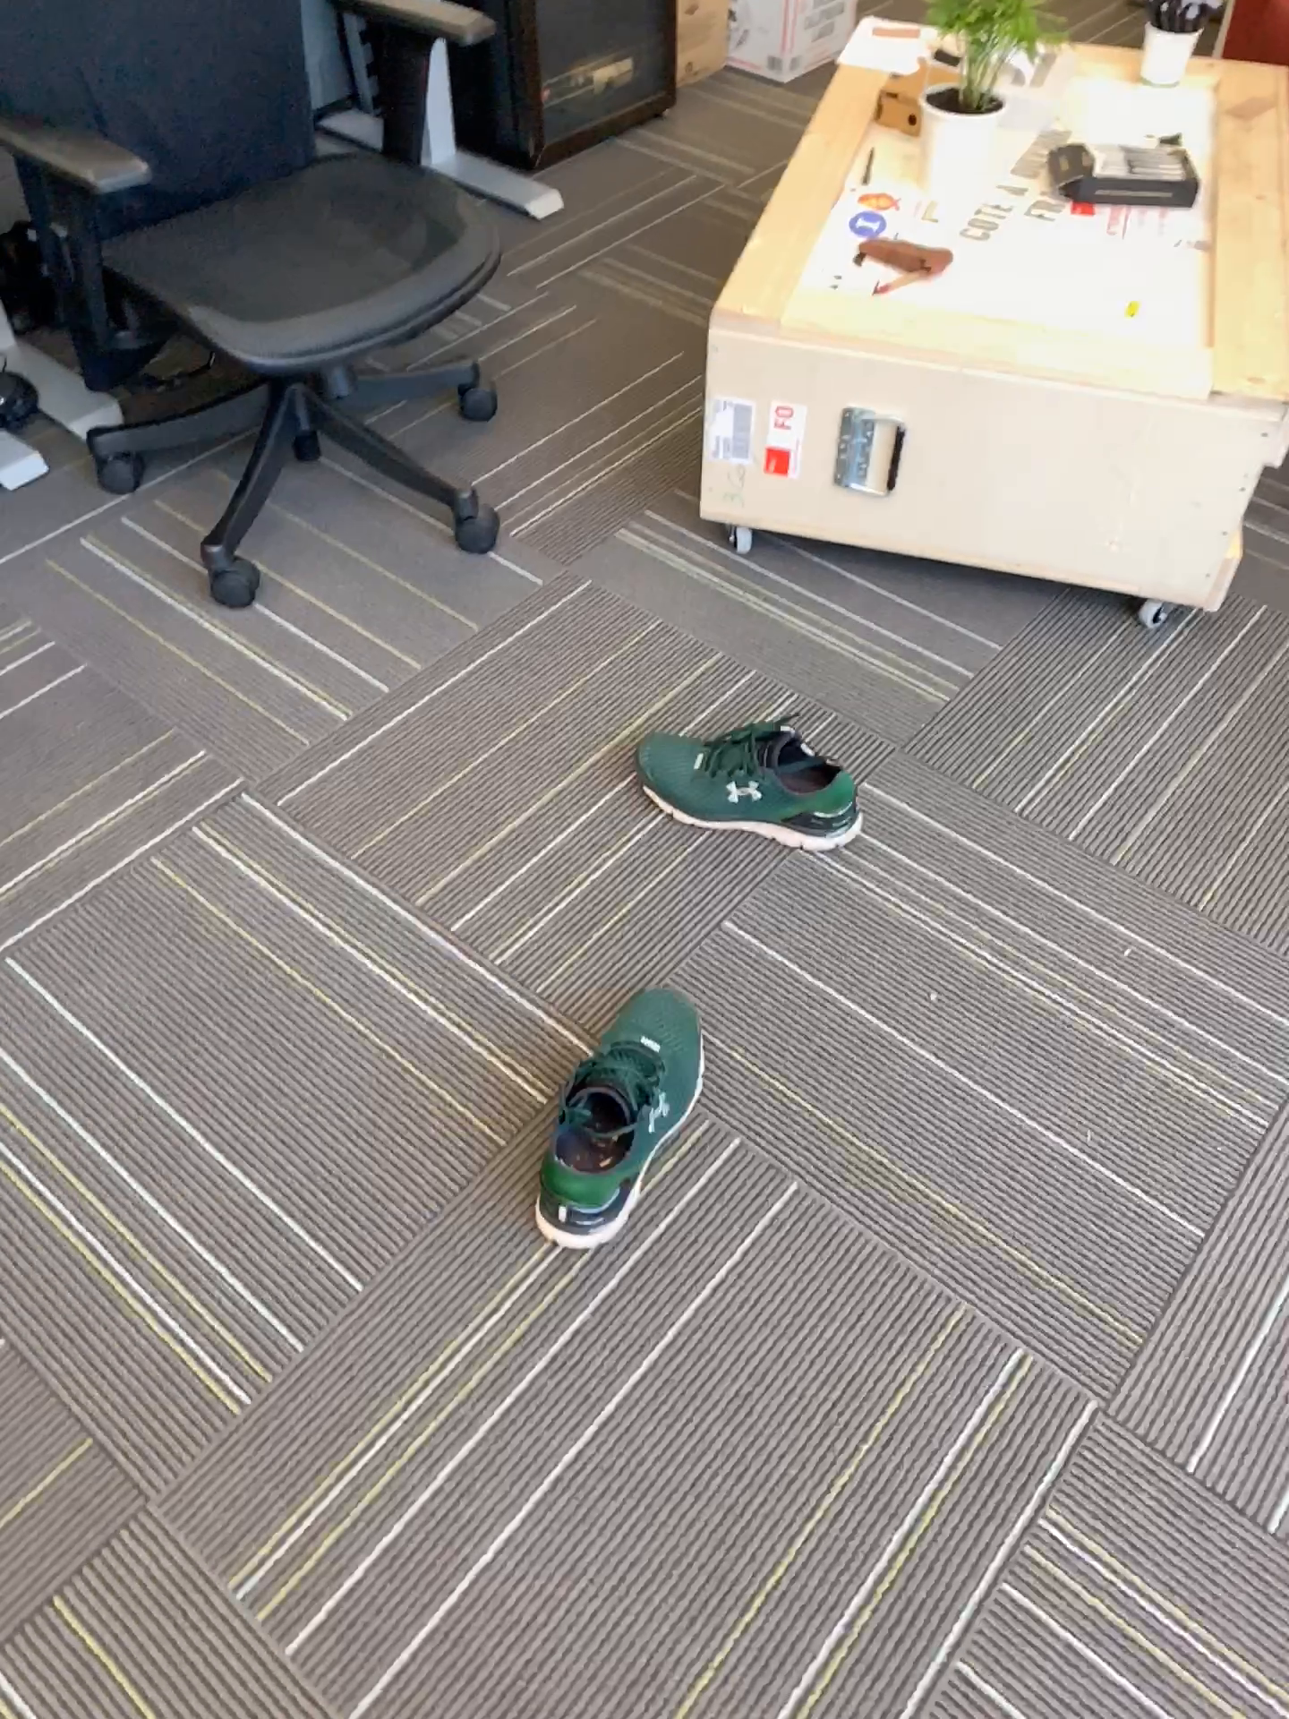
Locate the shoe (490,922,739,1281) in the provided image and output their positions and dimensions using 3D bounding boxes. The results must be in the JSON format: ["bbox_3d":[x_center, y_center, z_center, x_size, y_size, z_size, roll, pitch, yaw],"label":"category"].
[{"bbox_3d":[-0.022,0.237,1.331,0.130,0.129,0.311,18,52,14],"label":"shoe"}]

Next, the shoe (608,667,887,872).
[{"bbox_3d":[0.124,-0.113,1.621,0.310,0.129,0.131,15,51,12],"label":"shoe"}]
